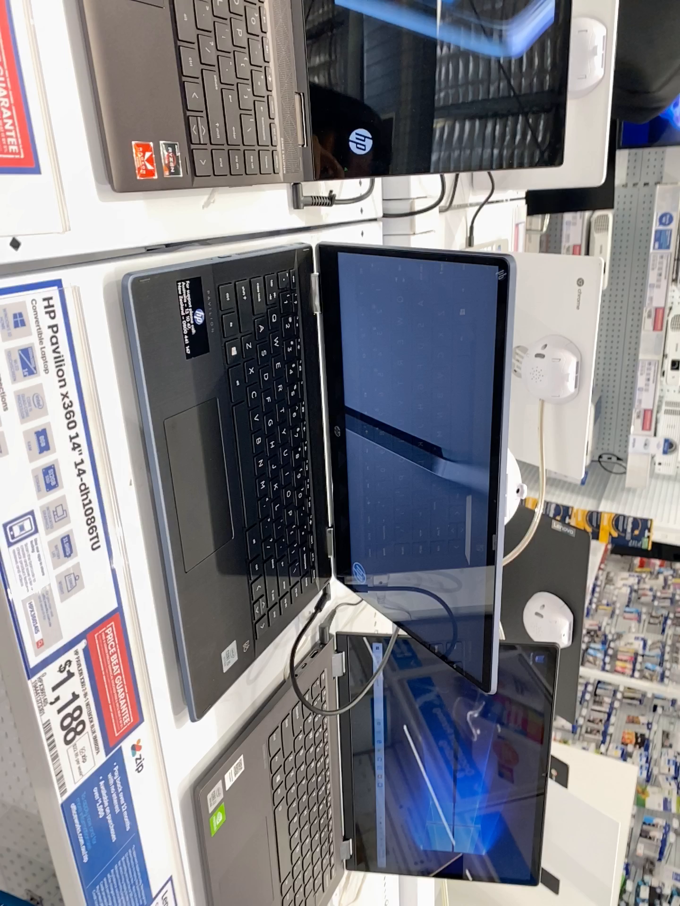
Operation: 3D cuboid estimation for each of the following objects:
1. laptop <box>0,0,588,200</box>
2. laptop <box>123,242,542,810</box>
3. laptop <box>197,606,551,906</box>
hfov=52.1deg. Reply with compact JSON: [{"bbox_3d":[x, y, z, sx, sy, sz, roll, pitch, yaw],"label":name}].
[{"bbox_3d":[0.018,-0.336,0.417,0.326,0.173,0.326,-34,125,-54],"label":"laptop"},{"bbox_3d":[0.017,0.024,0.497,0.212,0.189,0.313,-37,129,-55],"label":"laptop"},{"bbox_3d":[0.057,0.372,0.653,0.295,0.199,0.306,-33,125,-56],"label":"laptop"}]
